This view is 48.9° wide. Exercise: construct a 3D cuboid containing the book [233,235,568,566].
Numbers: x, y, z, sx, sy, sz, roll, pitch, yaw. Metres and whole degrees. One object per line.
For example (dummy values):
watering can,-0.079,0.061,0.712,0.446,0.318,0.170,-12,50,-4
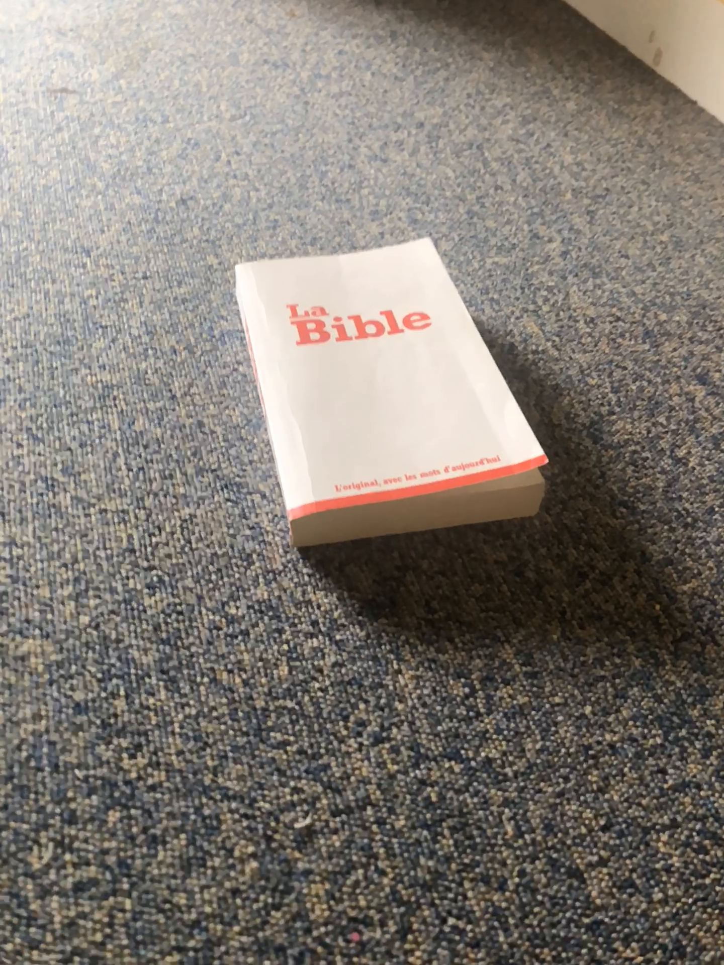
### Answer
book,0.009,-0.060,0.454,0.133,0.042,0.212,-8,50,-11
